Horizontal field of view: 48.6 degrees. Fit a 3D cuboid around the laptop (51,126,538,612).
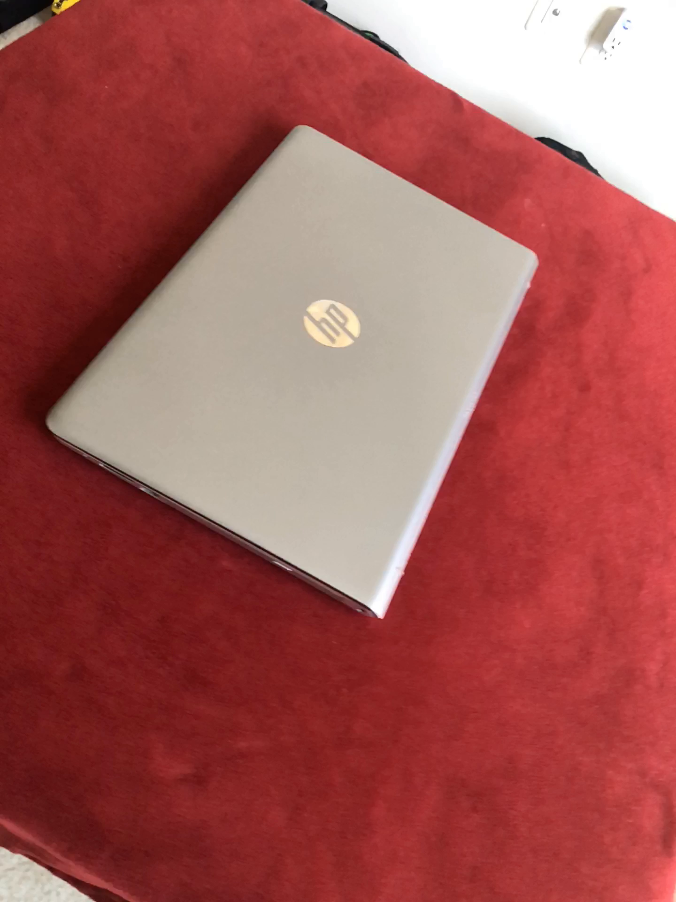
[{"bbox_3d":[-0.003,-0.095,0.571,0.233,0.006,0.373,29,58,1],"label":"laptop"}]
